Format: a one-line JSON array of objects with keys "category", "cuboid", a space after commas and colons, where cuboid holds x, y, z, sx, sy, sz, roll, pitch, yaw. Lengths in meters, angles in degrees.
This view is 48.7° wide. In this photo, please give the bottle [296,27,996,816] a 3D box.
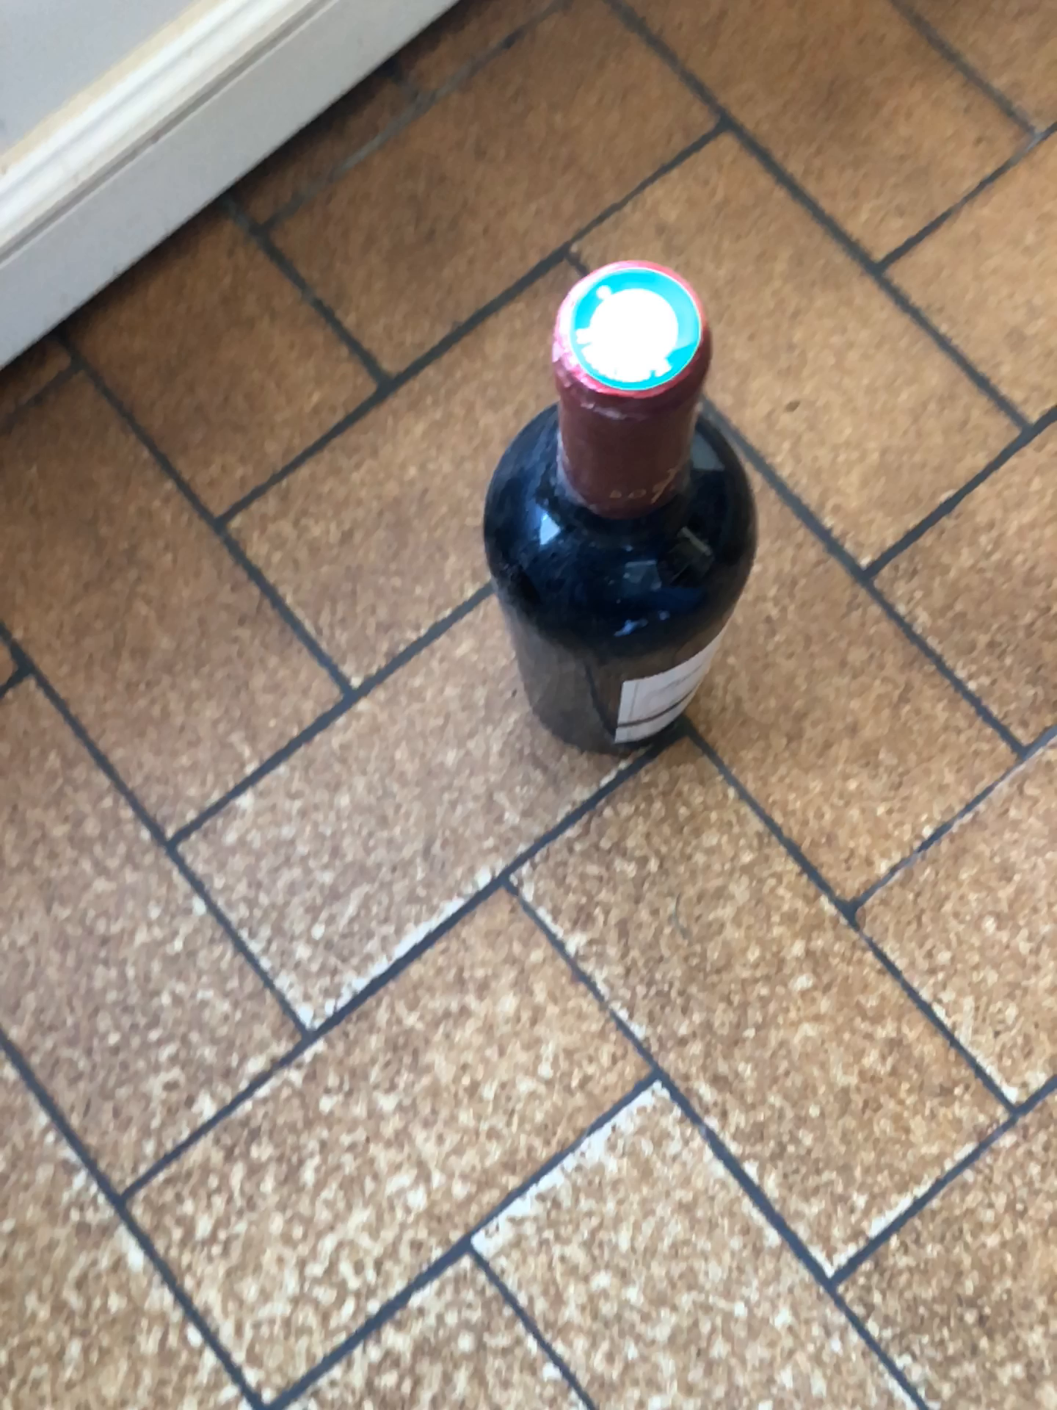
[{"category": "bottle", "cuboid": [0.027, -0.038, 0.339, 0.090, 0.290, 0.090, 0, 80, 3]}]
